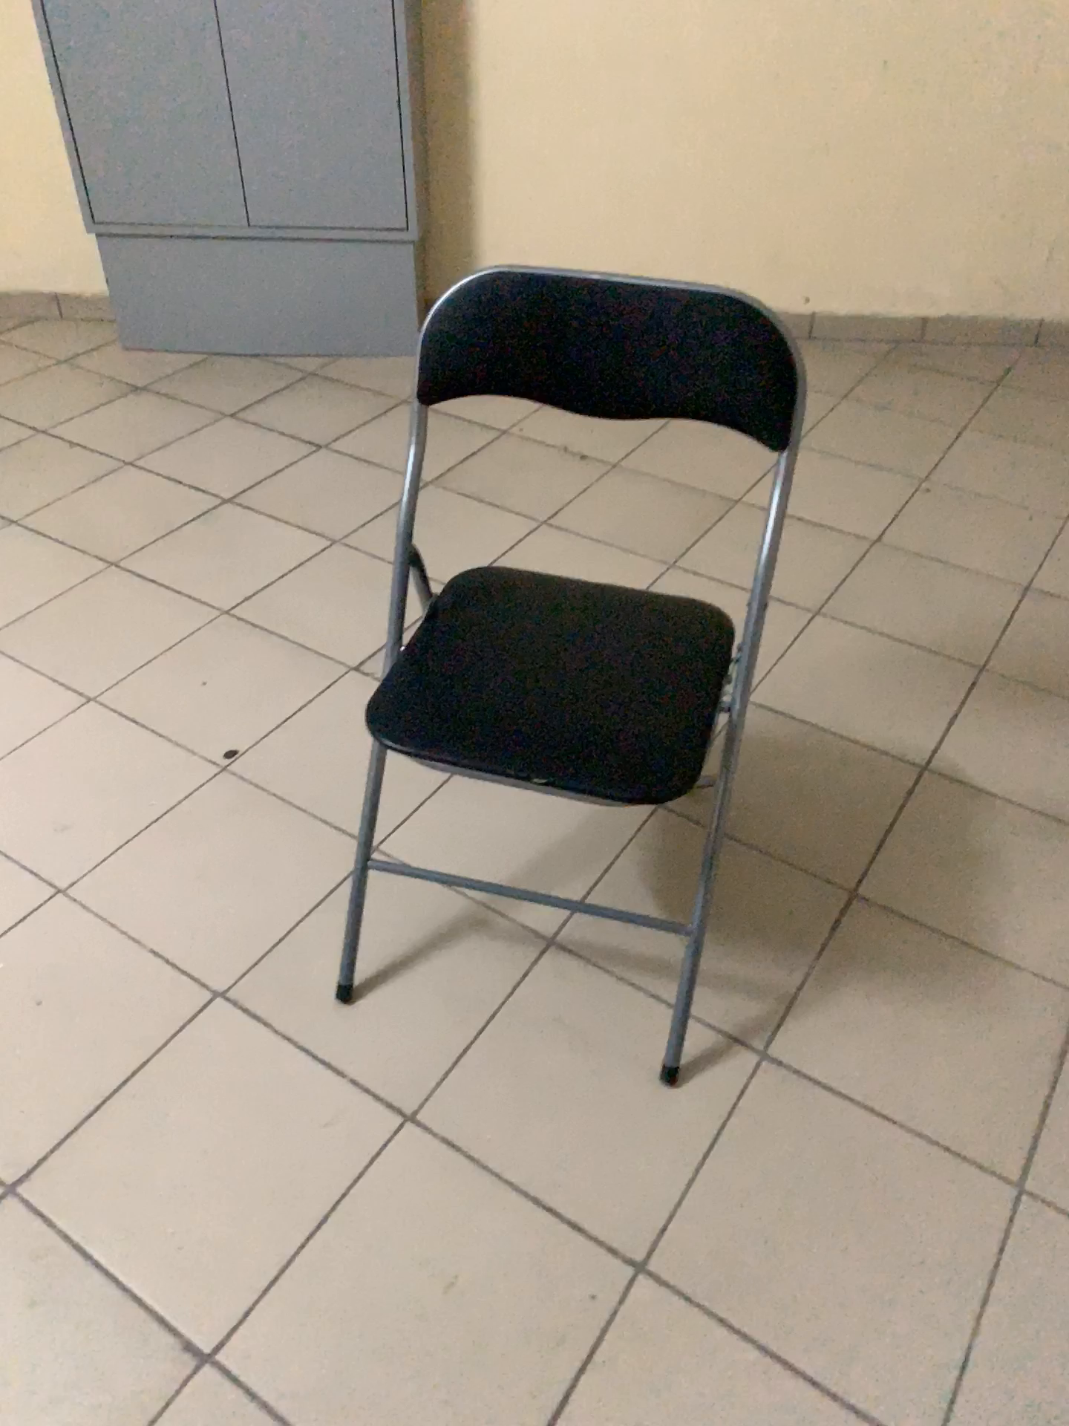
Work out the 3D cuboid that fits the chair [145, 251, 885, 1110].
[{"bbox_3d":[0.032,-0.056,1.271,0.570,0.726,0.562,10,40,13],"label":"chair"}]
